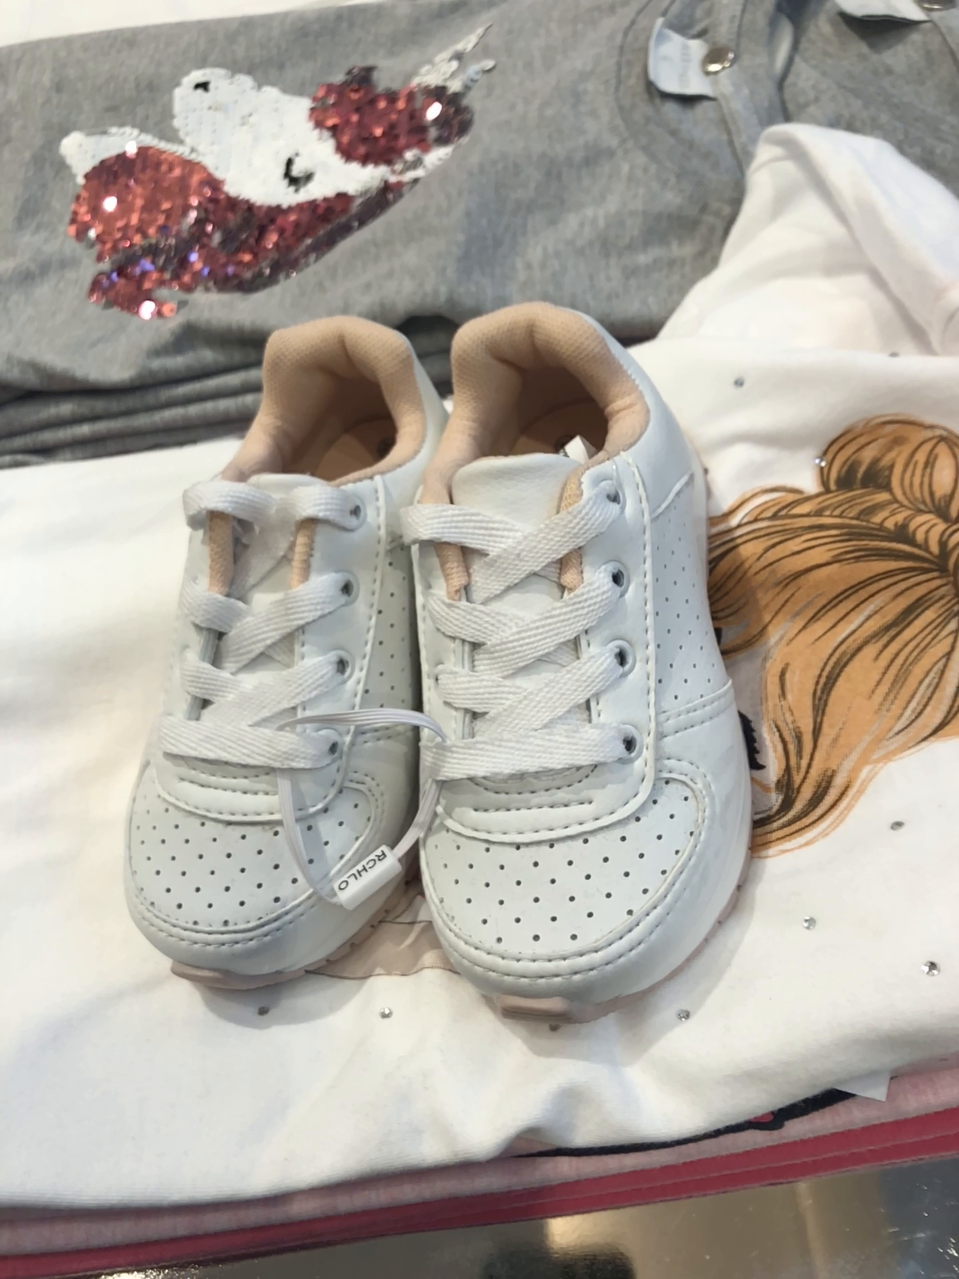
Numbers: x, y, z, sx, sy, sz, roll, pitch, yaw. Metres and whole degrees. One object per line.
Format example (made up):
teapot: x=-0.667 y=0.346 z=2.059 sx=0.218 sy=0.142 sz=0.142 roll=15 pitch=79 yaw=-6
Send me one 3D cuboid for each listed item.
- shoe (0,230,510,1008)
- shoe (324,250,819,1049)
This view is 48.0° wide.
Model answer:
shoe: x=-0.050 y=-0.009 z=0.247 sx=0.080 sy=0.060 sz=0.161 roll=7 pitch=67 yaw=11
shoe: x=0.020 y=0.001 z=0.234 sx=0.080 sy=0.060 sz=0.161 roll=-1 pitch=66 yaw=6
